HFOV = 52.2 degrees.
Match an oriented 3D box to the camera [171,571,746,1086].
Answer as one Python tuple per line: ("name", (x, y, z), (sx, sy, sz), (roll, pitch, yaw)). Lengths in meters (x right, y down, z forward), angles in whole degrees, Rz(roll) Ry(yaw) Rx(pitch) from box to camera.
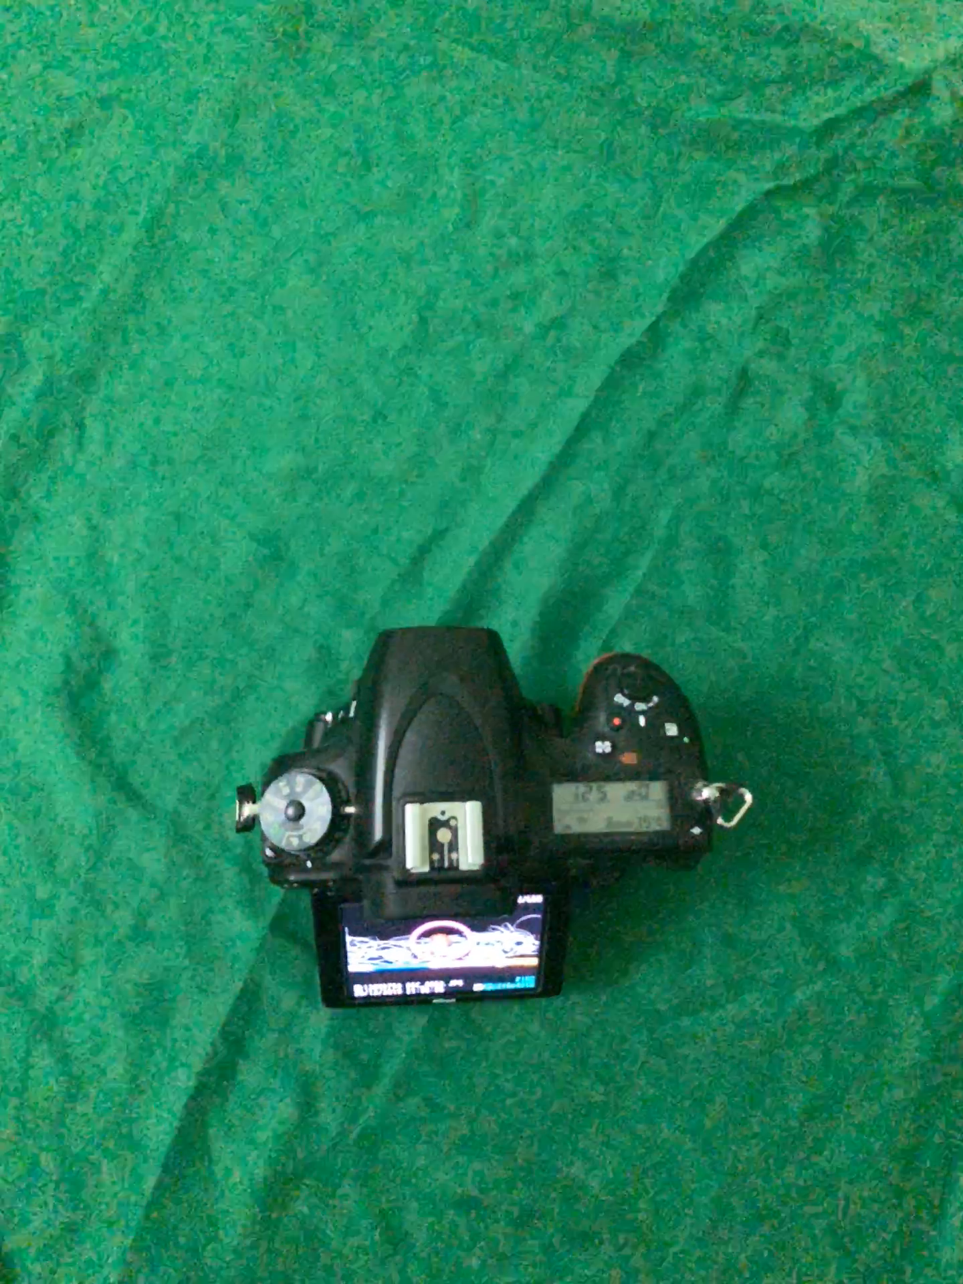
("camera", (-0.009, 0.054, 0.304), (0.142, 0.100, 0.128), (-1, 78, -3))
